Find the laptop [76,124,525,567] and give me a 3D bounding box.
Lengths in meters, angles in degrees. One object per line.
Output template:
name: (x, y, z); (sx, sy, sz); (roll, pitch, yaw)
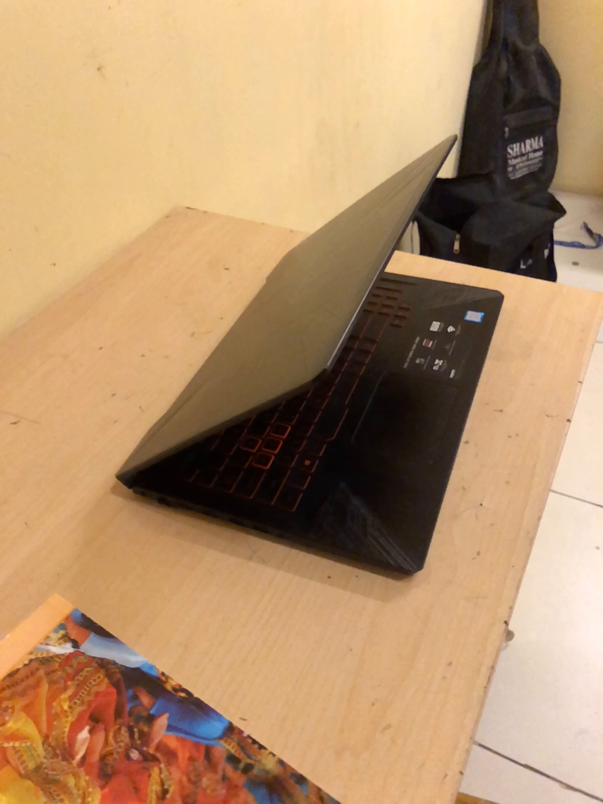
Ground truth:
laptop: (0.033, -0.086, 0.604); (0.252, 0.173, 0.371); (12, 45, 18)
